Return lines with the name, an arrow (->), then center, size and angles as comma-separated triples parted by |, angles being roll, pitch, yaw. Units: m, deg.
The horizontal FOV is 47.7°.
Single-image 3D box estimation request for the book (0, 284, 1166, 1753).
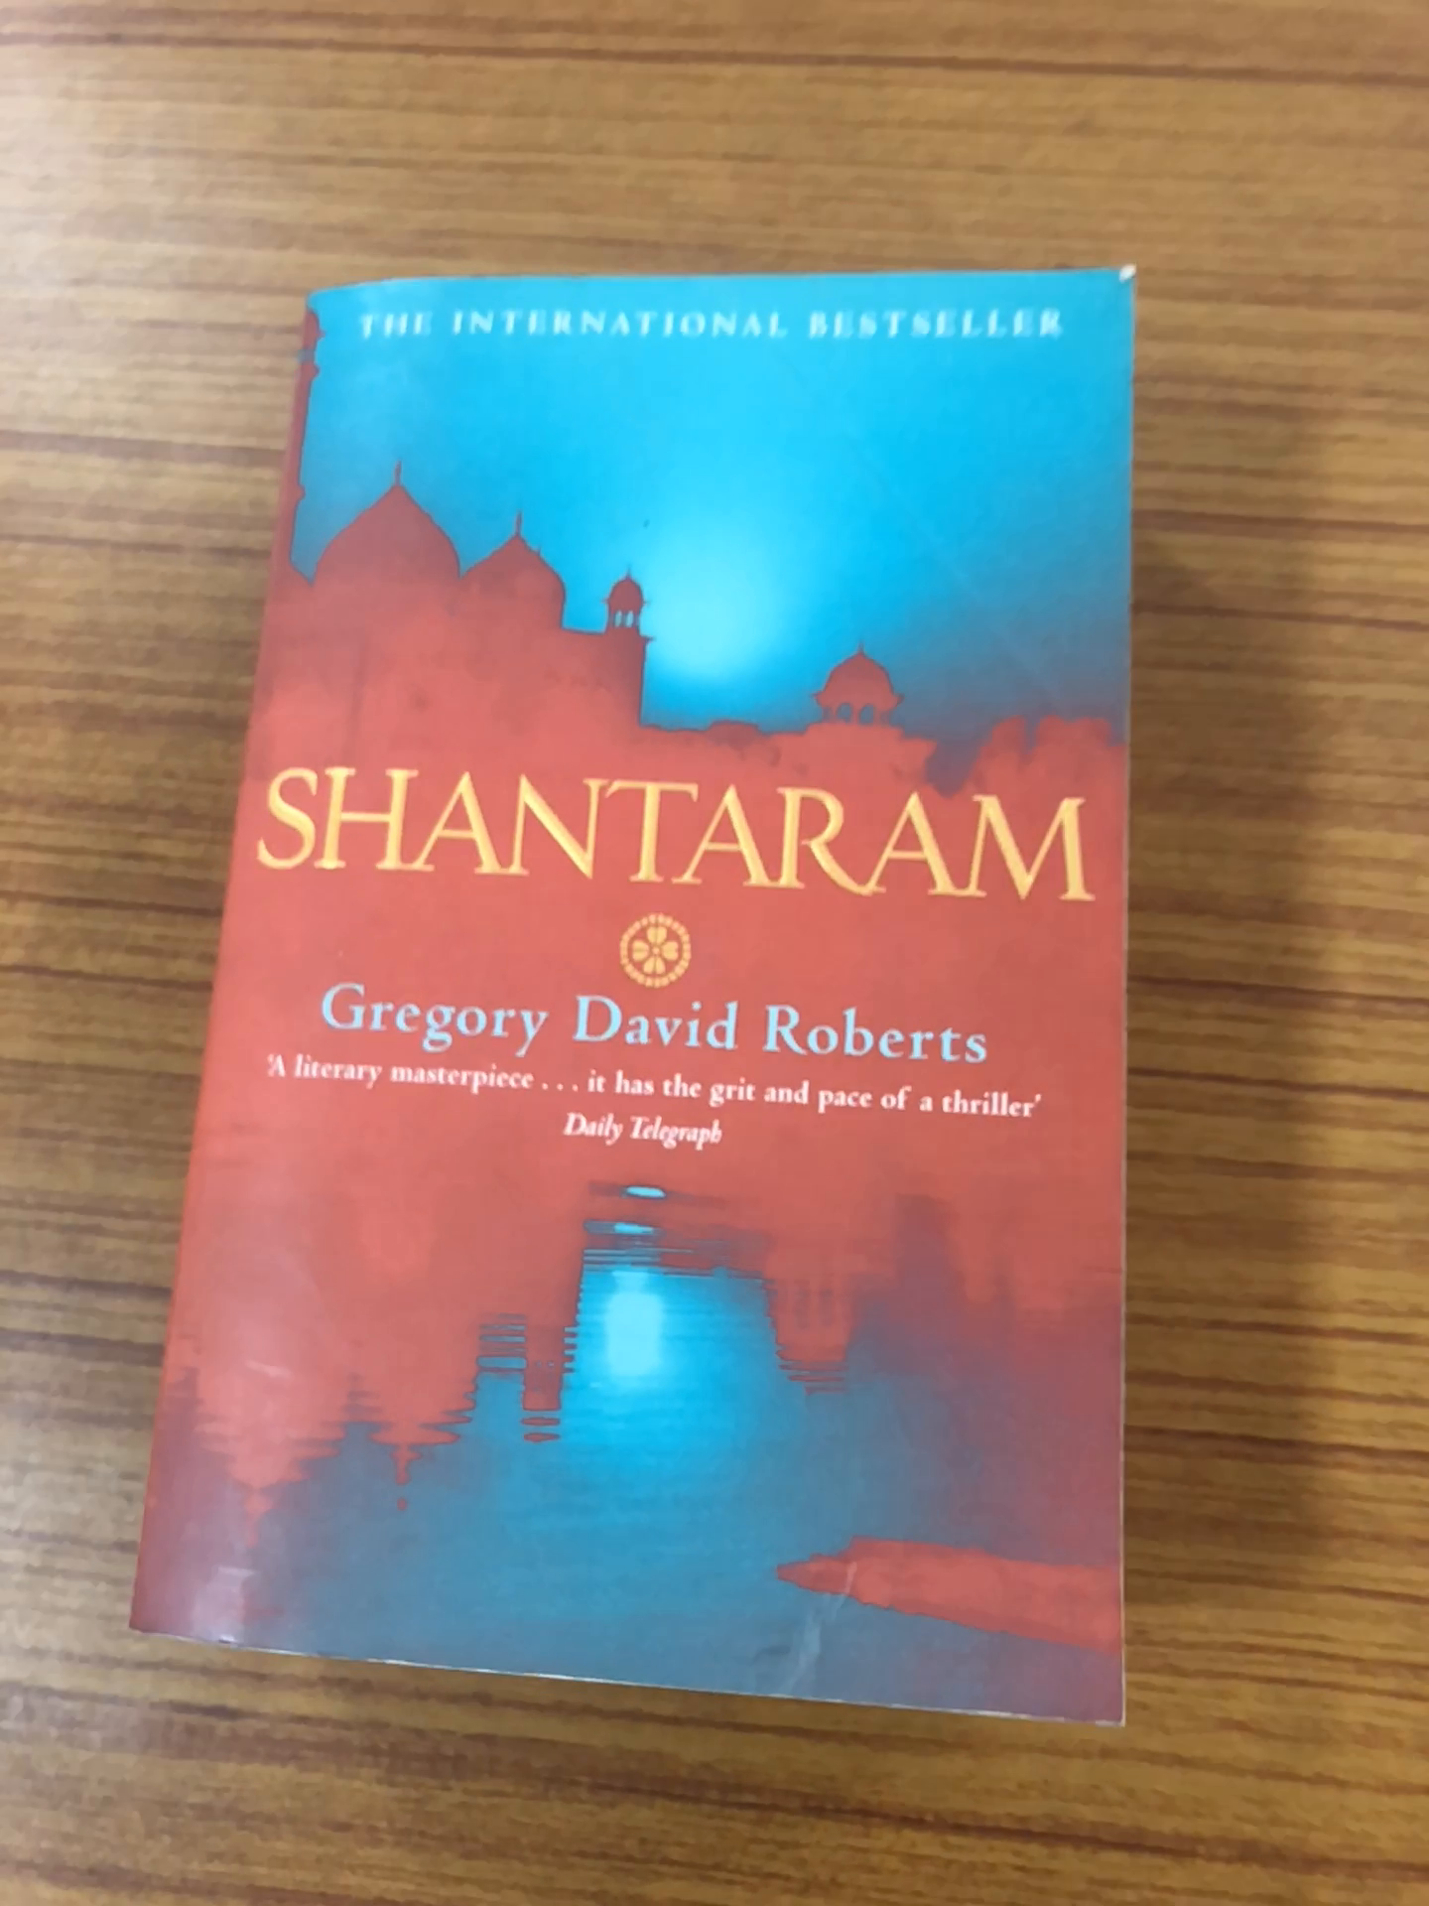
book -> -0.018, 0.003, 0.235 | 0.150, 0.050, 0.190 | 1, 77, 4
